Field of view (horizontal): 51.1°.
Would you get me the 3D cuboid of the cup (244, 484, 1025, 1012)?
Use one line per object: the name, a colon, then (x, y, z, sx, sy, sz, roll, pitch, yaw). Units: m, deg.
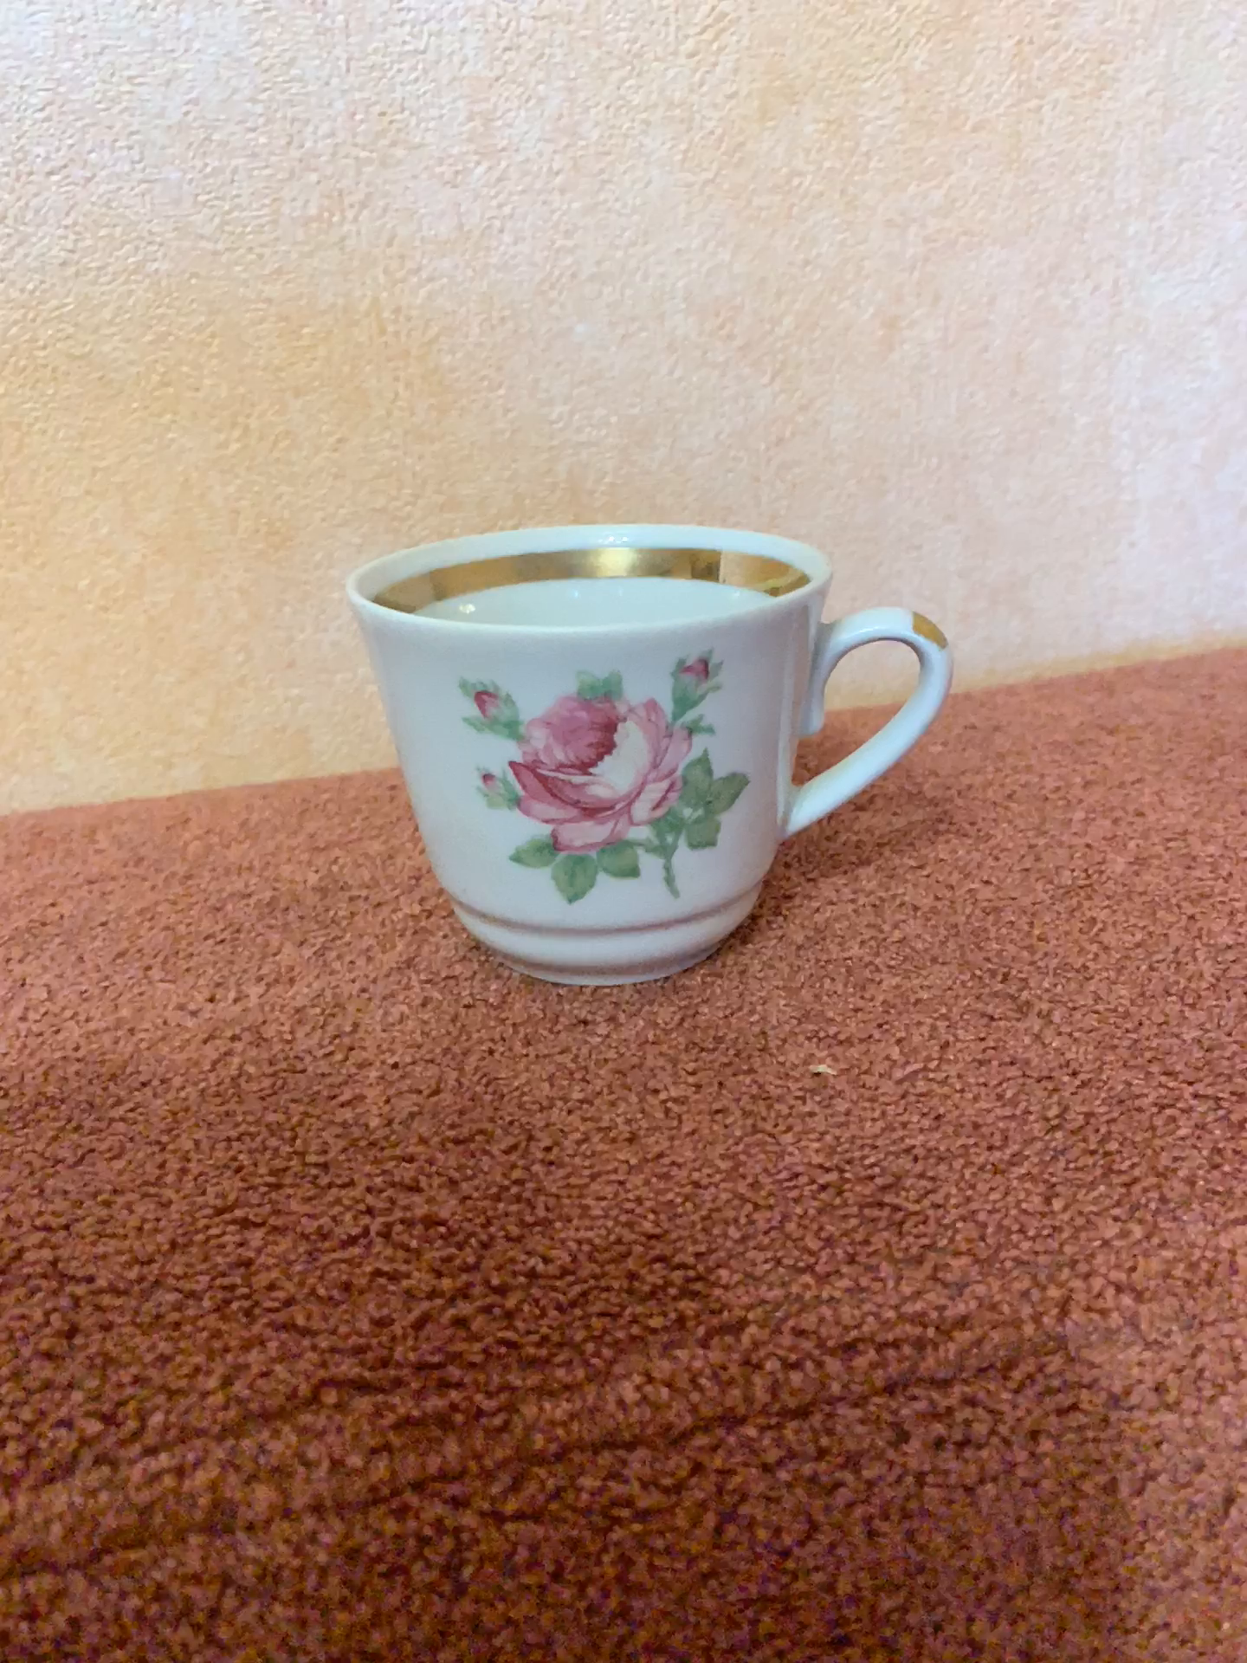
cup: (0.002, -0.016, 0.183, 0.085, 0.047, 0.067, -3, 25, 1)
